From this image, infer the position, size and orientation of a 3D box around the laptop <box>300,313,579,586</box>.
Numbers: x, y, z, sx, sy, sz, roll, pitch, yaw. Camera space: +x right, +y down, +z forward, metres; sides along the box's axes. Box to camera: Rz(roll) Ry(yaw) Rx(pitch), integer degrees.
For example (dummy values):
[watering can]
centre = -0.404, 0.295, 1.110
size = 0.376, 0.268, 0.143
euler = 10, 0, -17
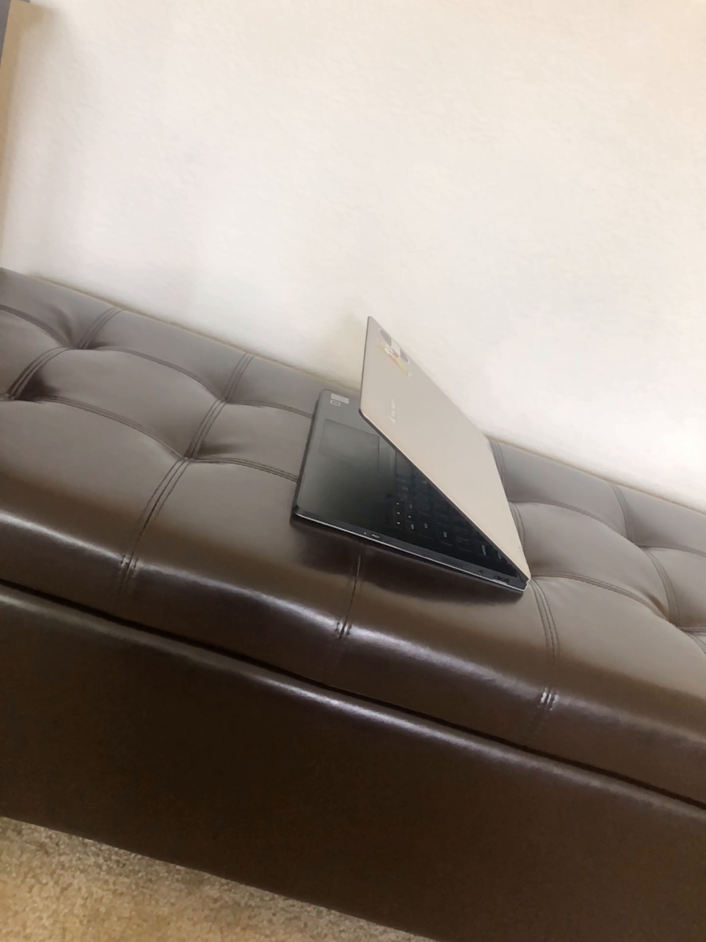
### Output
[laptop]
centre = 0.071, -0.039, 0.749
size = 0.197, 0.097, 0.294
euler = 18, 24, -6
